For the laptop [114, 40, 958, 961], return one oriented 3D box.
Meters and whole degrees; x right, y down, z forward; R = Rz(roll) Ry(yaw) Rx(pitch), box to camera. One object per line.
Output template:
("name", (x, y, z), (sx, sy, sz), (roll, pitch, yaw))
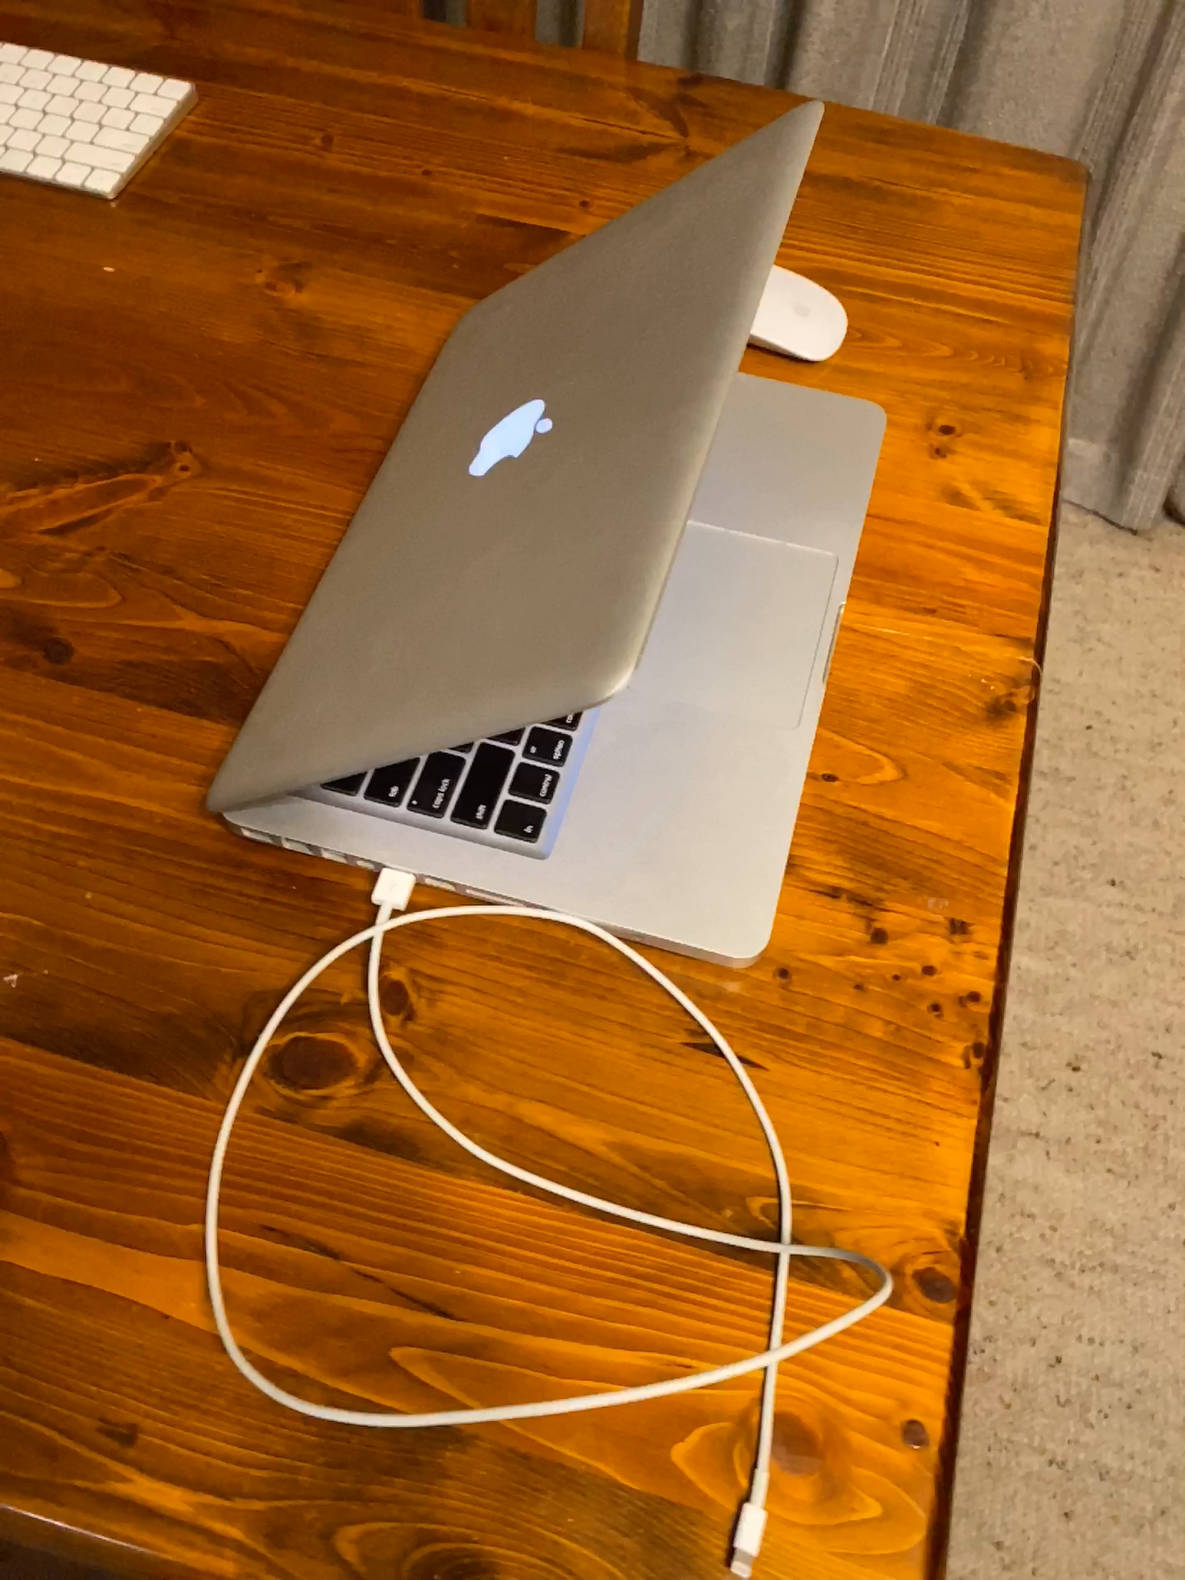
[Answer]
("laptop", (0.002, -0.127, 0.479), (0.211, 0.137, 0.312), (15, 59, 6))
